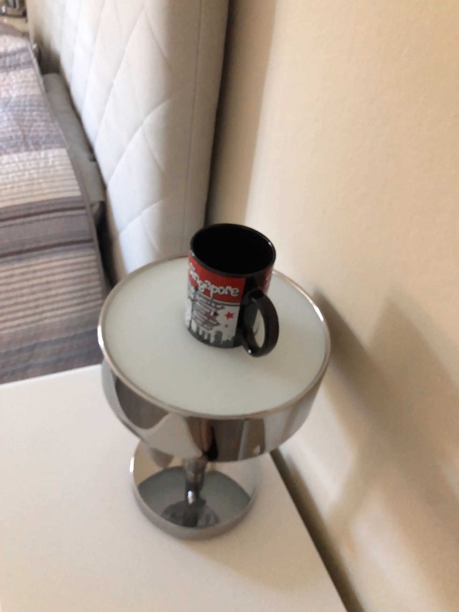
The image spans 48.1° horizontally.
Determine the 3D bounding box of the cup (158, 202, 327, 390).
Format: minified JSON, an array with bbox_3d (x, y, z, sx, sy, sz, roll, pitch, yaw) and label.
[{"bbox_3d":[0.004,-0.014,0.488,0.090,0.100,0.130,-20,49,-28],"label":"cup"}]
